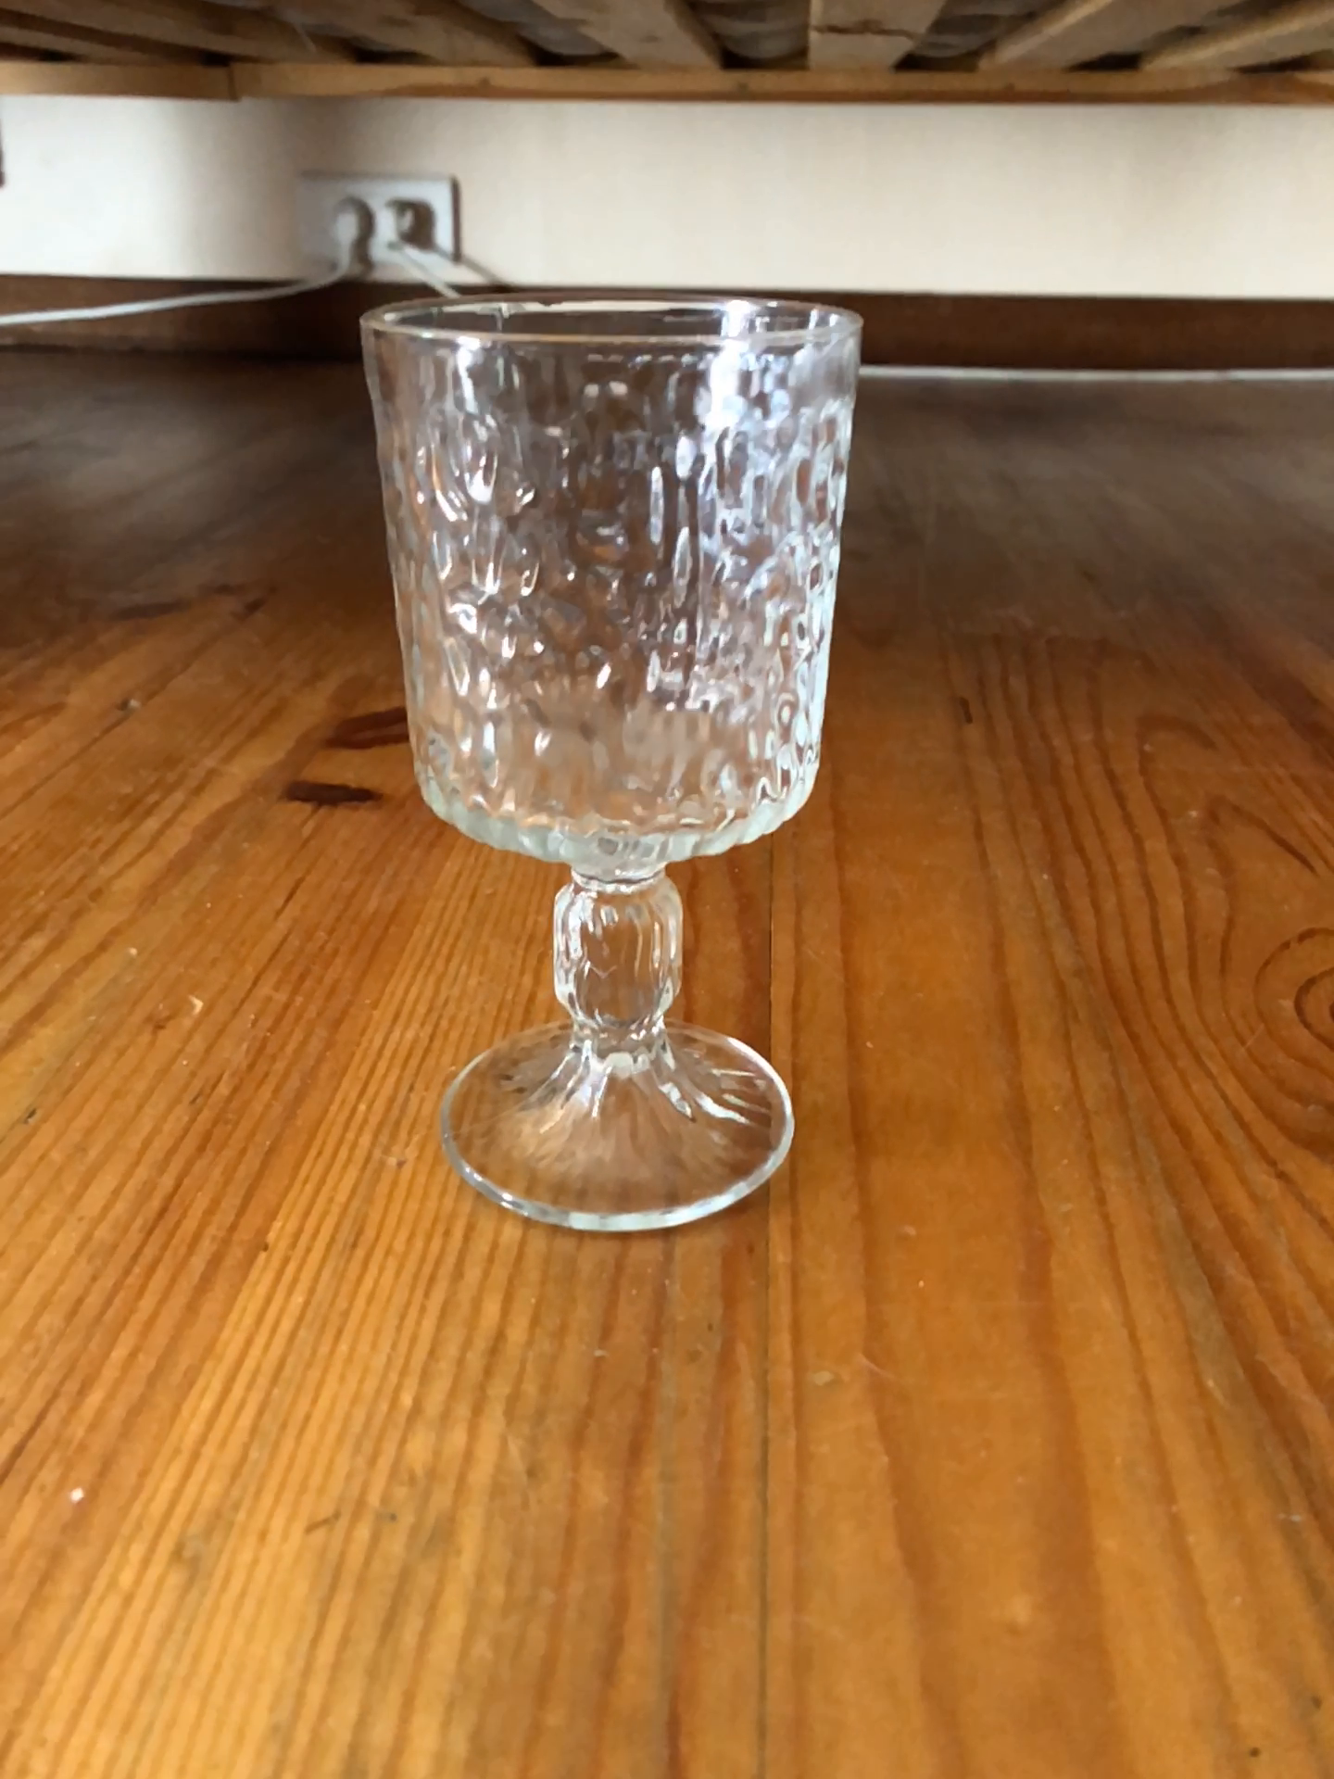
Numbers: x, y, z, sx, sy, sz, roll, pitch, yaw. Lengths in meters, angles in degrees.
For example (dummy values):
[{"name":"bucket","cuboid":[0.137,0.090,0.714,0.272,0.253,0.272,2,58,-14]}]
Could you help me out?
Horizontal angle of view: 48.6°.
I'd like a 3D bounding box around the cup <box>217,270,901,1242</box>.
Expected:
[{"name":"cup","cuboid":[-0.011,-0.025,0.239,0.081,0.134,0.081,1,25,0]}]
